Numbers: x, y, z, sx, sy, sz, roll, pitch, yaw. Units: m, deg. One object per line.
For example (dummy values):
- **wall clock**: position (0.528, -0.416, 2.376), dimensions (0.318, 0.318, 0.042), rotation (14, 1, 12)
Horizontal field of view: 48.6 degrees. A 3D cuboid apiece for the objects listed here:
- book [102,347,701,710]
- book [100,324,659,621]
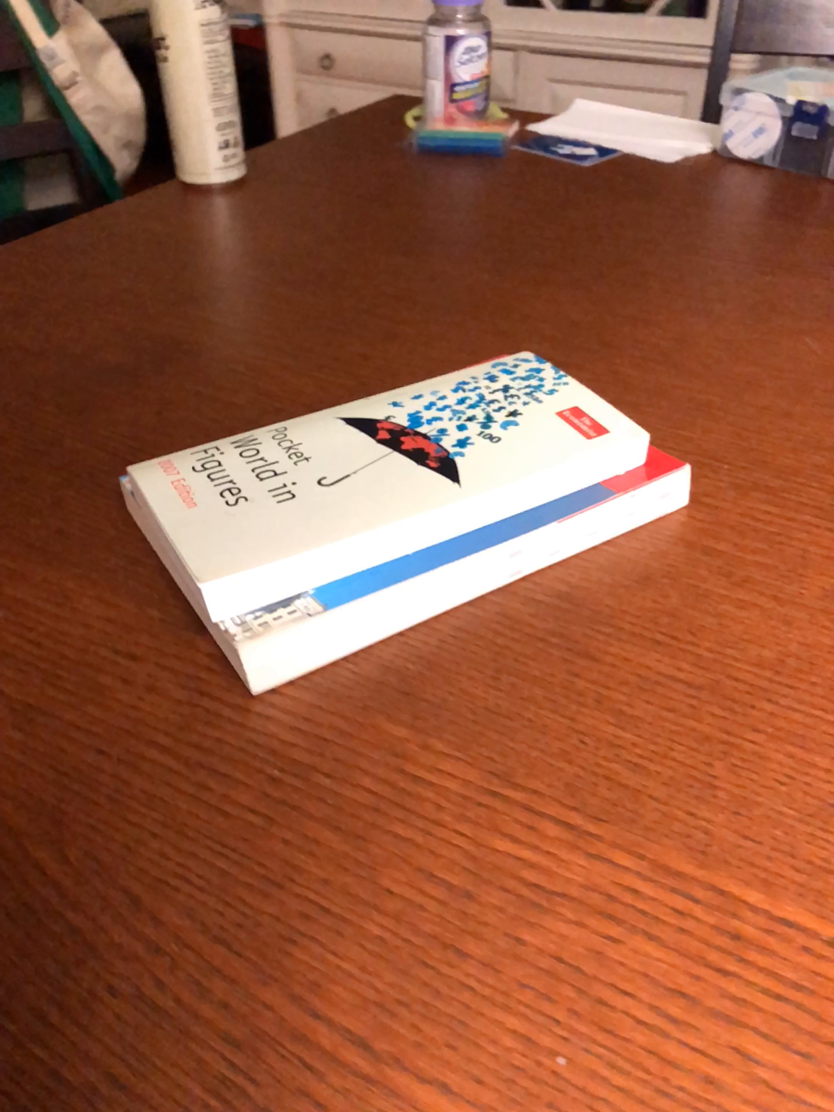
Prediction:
- **book**: position (-0.008, -0.028, 0.394), dimensions (0.210, 0.020, 0.141), rotation (-21, 42, -23)
- **book**: position (-0.014, -0.044, 0.375), dimensions (0.200, 0.020, 0.100), rotation (-20, 42, -22)
